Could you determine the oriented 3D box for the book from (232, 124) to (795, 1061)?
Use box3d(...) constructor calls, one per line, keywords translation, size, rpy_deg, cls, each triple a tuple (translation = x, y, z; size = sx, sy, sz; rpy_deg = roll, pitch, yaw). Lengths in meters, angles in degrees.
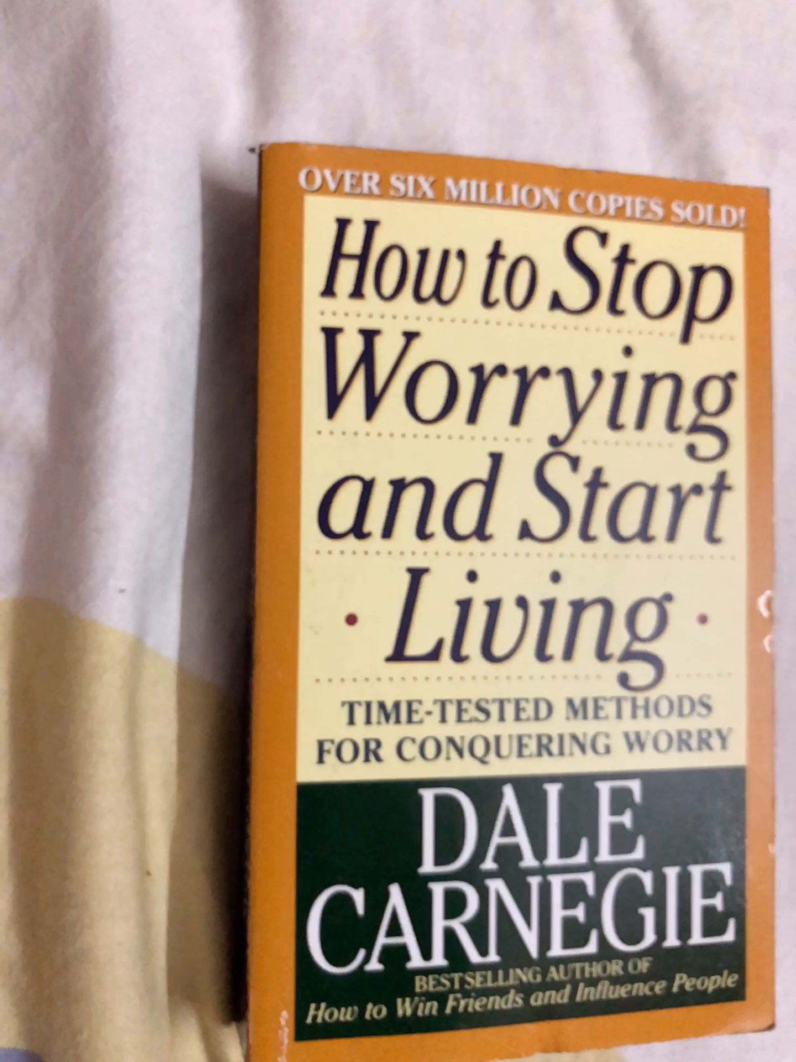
box3d(translation=(0.023, 0.016, 0.193), size=(0.110, 0.050, 0.170), rpy_deg=(1, 87, -14), cls="book")
